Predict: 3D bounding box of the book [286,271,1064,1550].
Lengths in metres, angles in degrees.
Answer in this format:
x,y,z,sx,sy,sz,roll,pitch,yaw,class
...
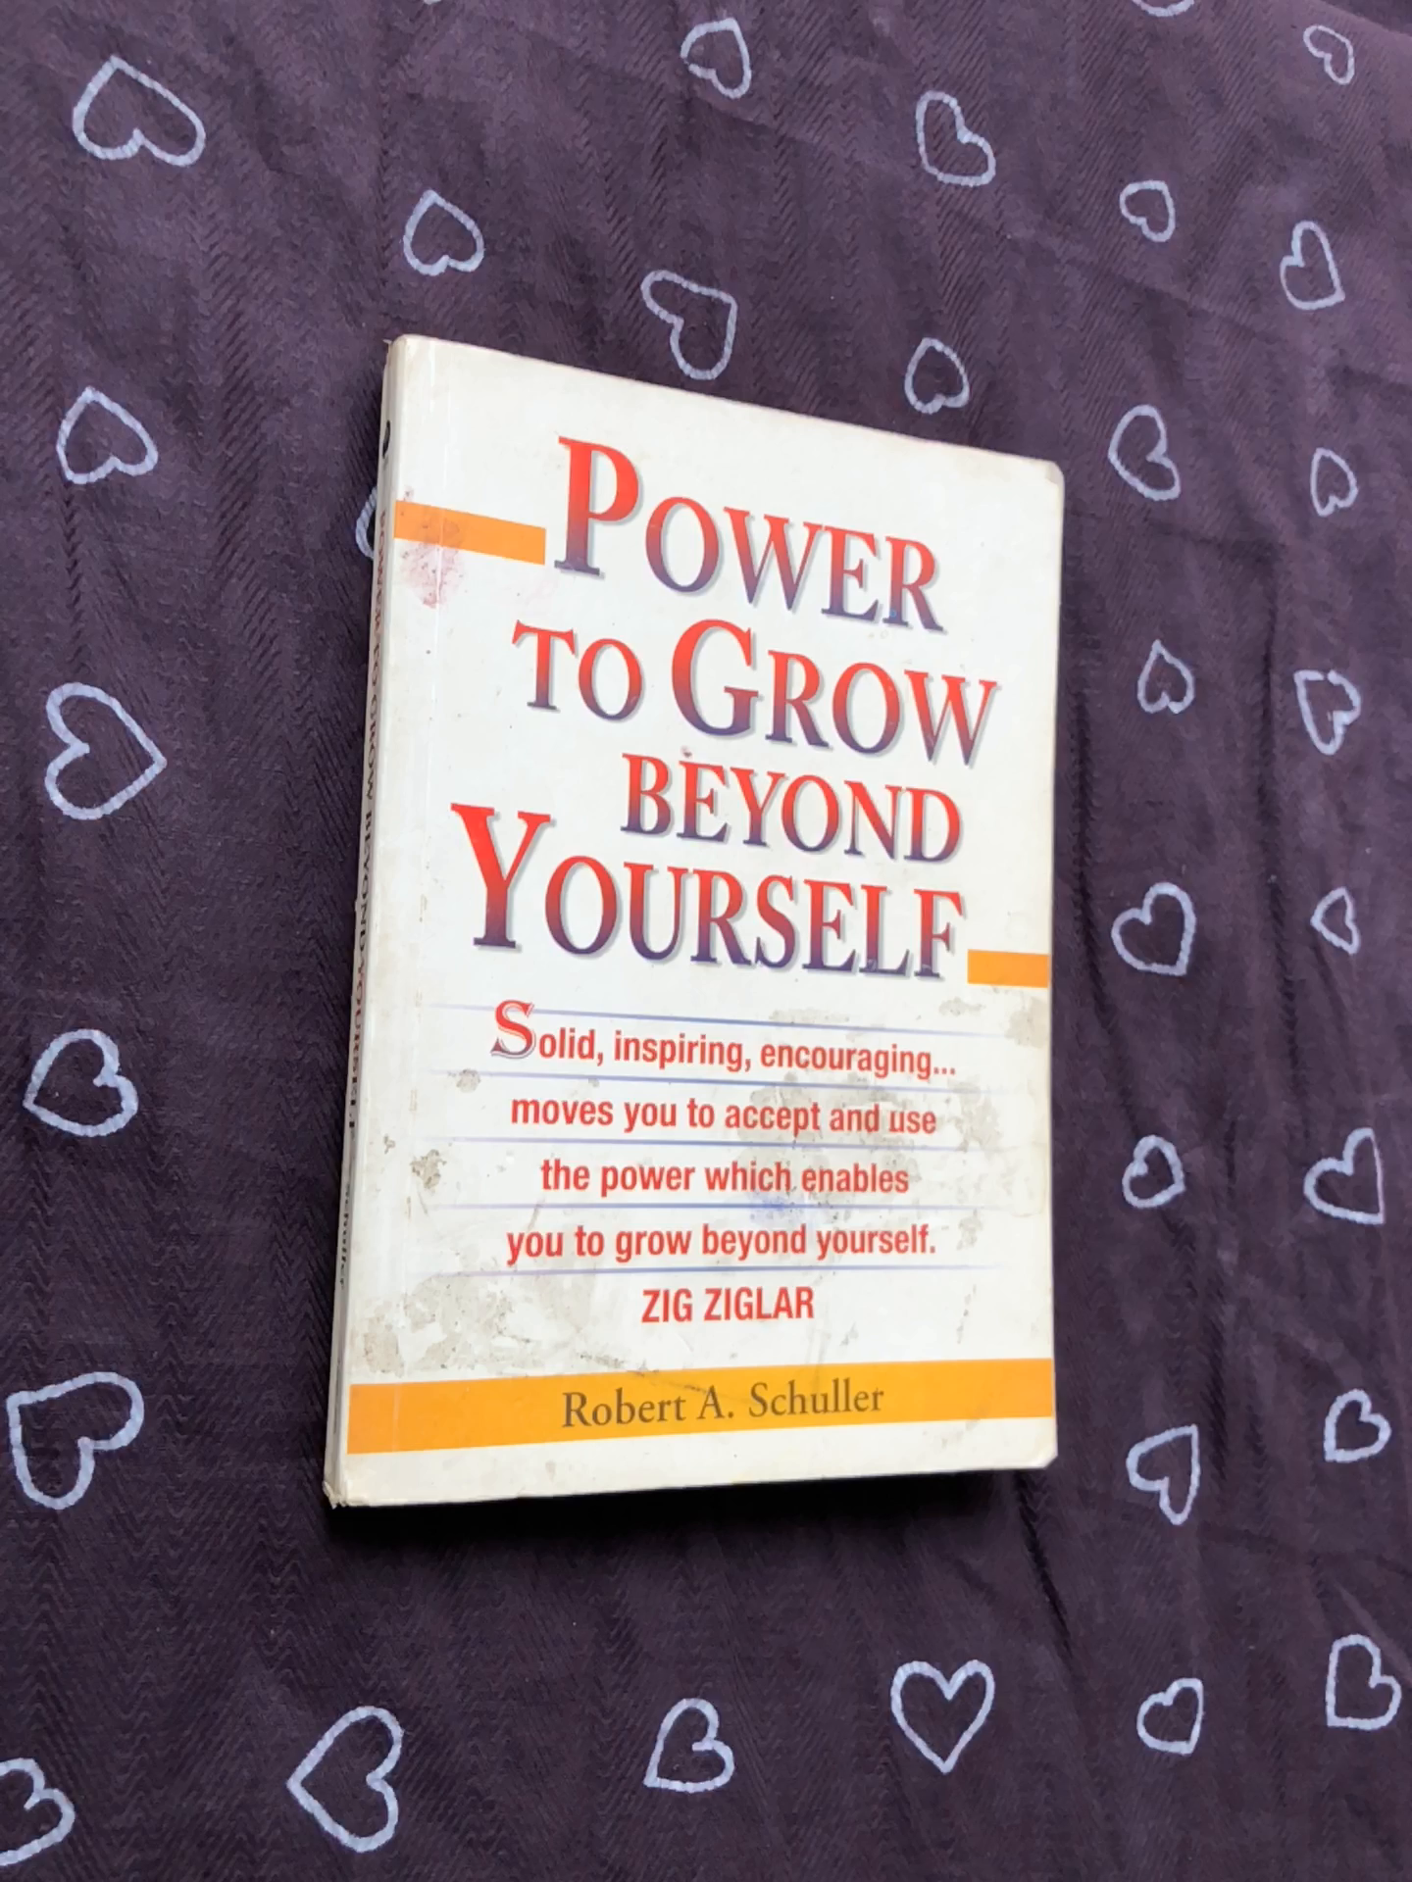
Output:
x,y,z,sx,sy,sz,roll,pitch,yaw,class
0.001,-0.002,0.259,0.120,0.030,0.180,5,82,-26,book
